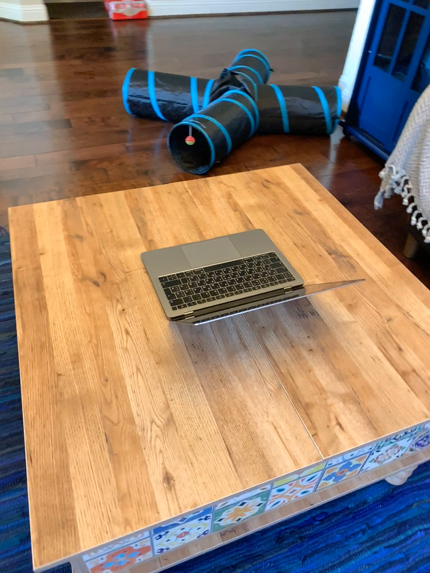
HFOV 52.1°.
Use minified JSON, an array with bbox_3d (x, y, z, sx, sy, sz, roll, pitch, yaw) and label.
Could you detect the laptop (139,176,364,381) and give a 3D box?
[{"bbox_3d":[0.043,-0.042,0.841,0.291,0.141,0.354,-13,45,-17],"label":"laptop"}]
